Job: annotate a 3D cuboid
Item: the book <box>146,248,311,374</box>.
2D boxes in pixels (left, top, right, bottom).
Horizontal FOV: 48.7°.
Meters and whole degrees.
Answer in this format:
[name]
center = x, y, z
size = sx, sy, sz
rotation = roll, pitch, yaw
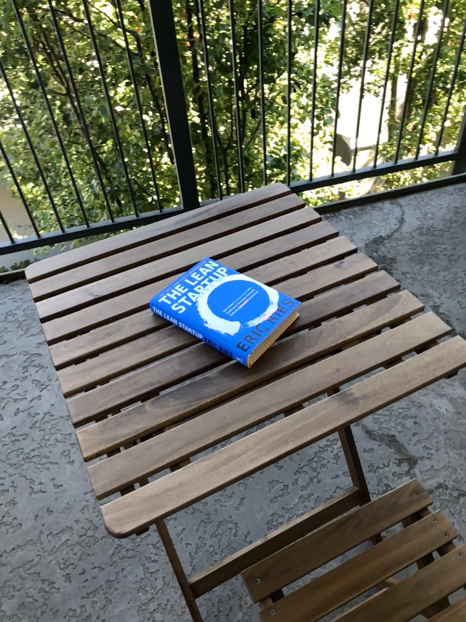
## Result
[book]
center = -0.008, -0.011, 0.882
size = 0.230, 0.040, 0.160
rotation = 29, 54, 30
